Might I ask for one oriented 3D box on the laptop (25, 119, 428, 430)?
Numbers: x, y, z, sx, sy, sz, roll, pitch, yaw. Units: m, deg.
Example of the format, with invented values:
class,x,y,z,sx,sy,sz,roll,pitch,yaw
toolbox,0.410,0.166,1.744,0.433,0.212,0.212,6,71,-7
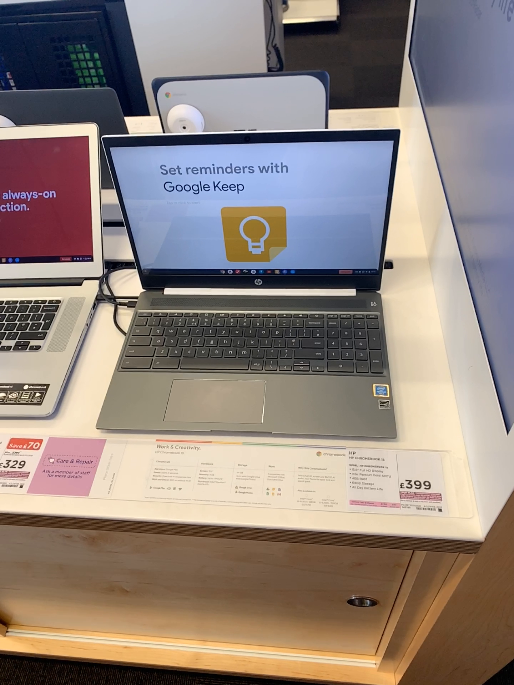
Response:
class,x,y,z,sx,sy,sz,roll,pitch,yaw
laptop,-0.015,-0.081,0.622,0.351,0.228,0.265,1,49,6
